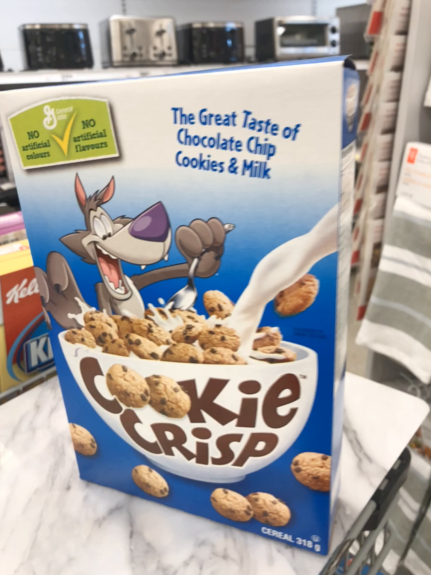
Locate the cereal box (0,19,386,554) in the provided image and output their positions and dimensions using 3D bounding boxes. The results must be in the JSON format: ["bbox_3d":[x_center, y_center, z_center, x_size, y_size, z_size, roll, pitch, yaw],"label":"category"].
[{"bbox_3d":[-0.020,0.008,0.288,0.210,0.269,0.050,5,23,22],"label":"cereal box"}]
